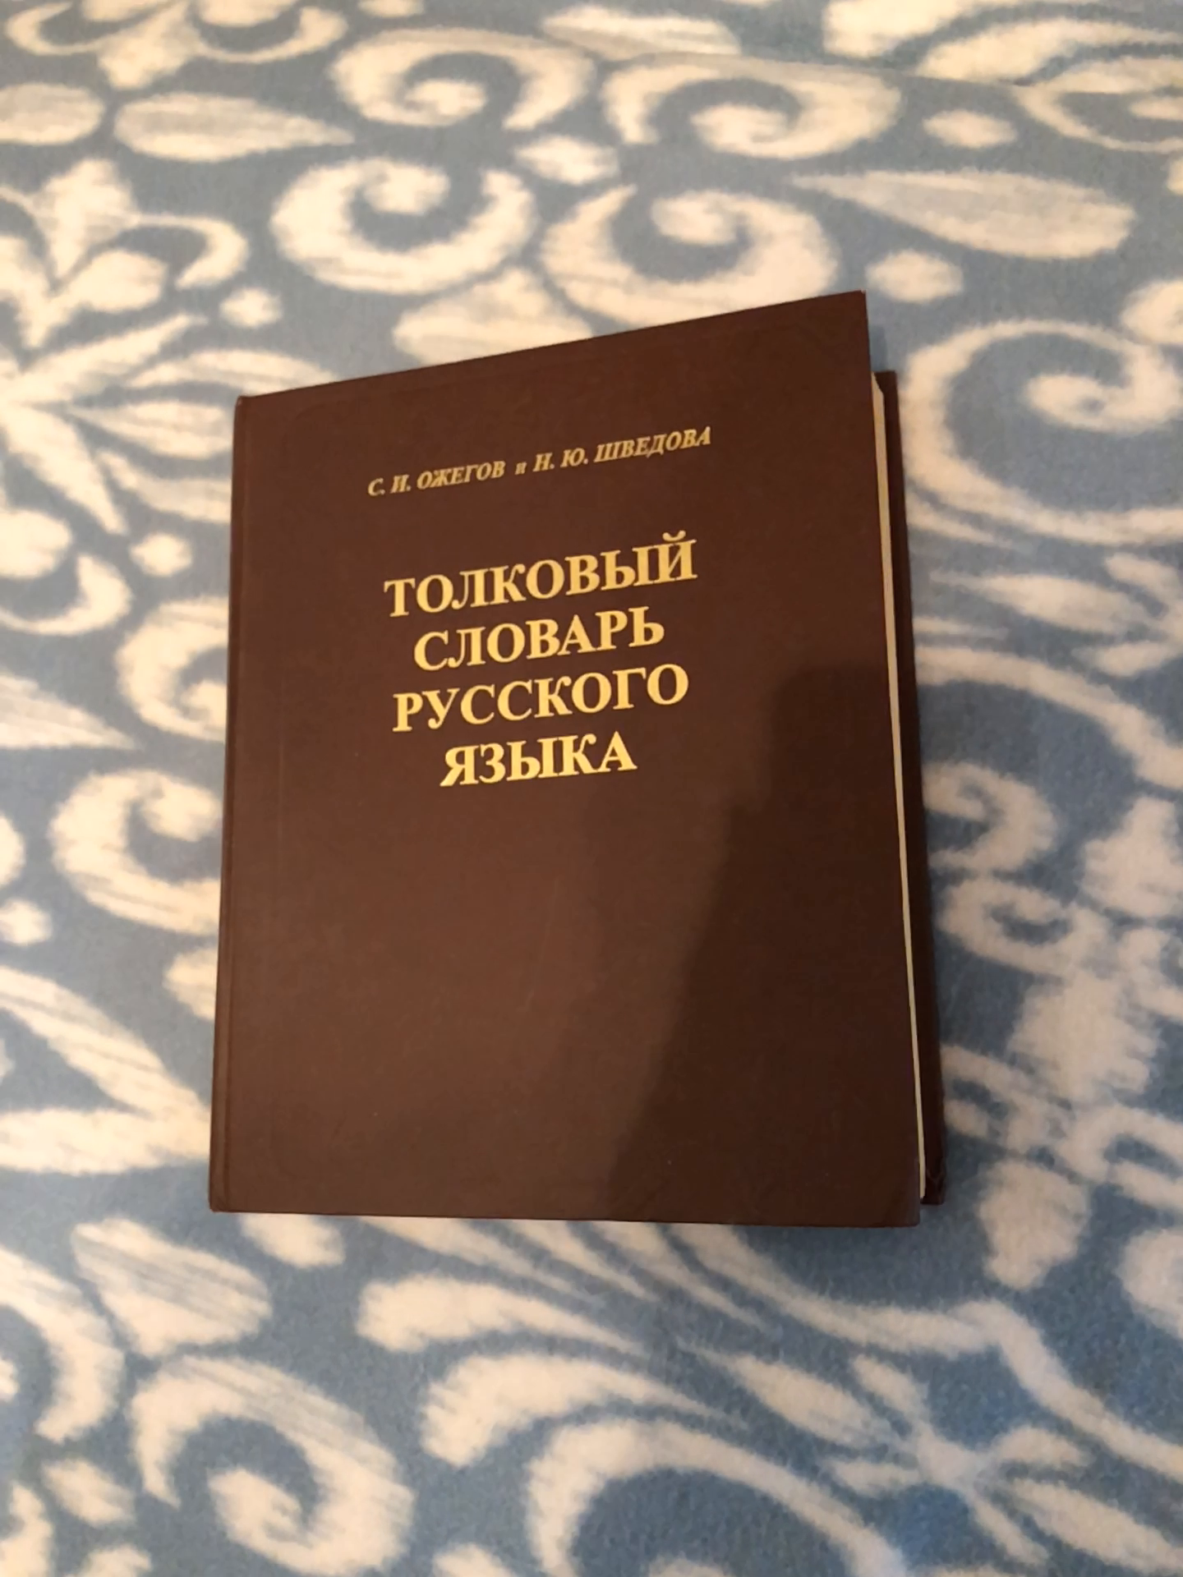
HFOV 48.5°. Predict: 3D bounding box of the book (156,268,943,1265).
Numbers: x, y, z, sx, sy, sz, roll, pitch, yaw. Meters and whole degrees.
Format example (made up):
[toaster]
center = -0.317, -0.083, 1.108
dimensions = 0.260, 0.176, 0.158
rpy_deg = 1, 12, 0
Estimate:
[book]
center = -0.013, -0.003, 0.410
dimensions = 0.220, 0.067, 0.270
rpy_deg = -4, 78, 16
